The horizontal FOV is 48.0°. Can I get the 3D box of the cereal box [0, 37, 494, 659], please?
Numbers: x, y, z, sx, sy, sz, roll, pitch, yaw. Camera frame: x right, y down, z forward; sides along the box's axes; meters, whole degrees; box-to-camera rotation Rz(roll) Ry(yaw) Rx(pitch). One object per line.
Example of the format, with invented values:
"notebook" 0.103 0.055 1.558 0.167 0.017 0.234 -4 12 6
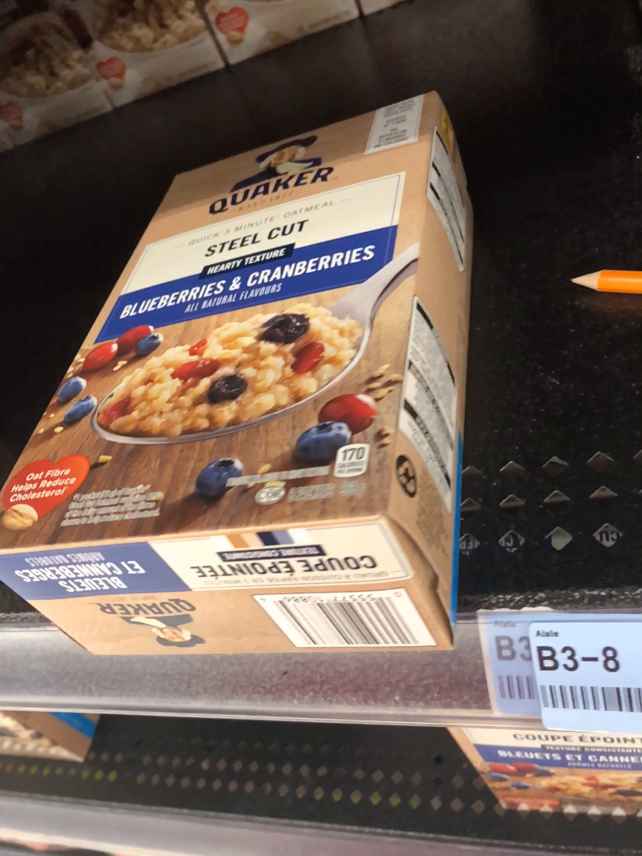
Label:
"cereal box" -0.010 -0.043 0.265 0.130 0.060 0.240 -8 46 23
